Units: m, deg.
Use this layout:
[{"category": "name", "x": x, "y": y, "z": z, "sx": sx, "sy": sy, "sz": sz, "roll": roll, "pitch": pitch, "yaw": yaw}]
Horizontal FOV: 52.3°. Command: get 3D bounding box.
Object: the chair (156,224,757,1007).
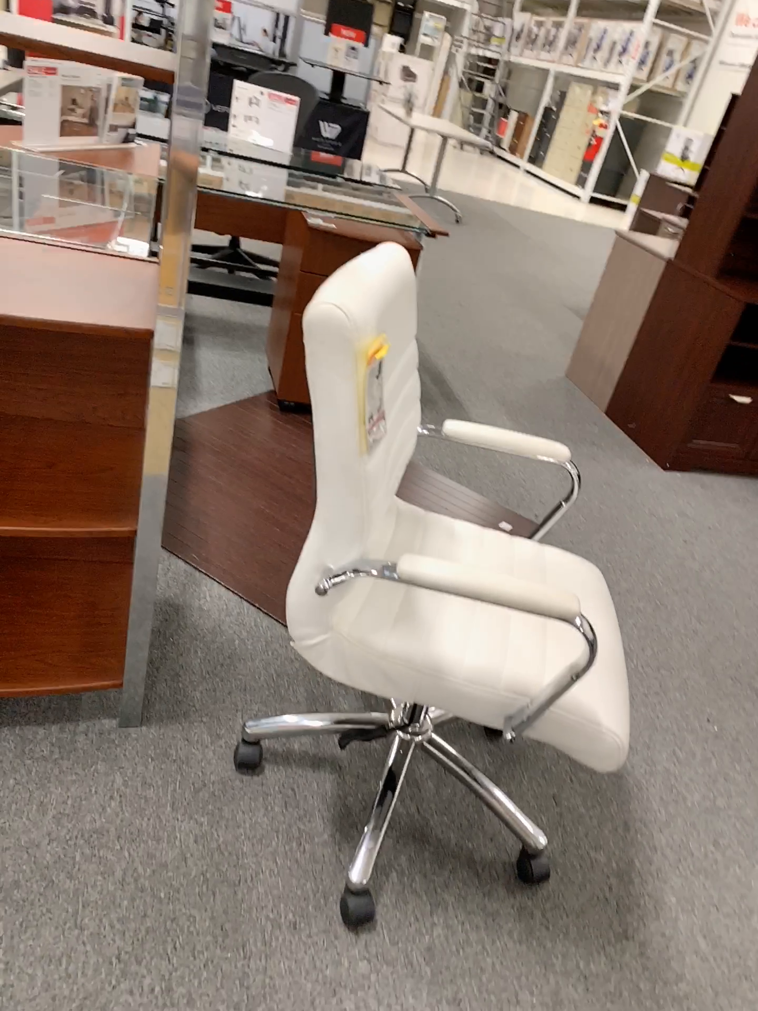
[{"category": "chair", "x": 0.136, "y": 0.140, "z": 1.253, "sx": 0.680, "sy": 0.905, "sz": 0.624, "roll": 17, "pitch": 29, "yaw": 4}]
